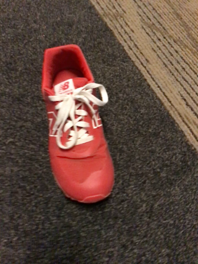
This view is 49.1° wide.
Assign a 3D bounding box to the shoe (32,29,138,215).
[{"bbox_3d":[-0.034,-0.023,0.334,0.100,0.108,0.257,-8,63,-9],"label":"shoe"}]
